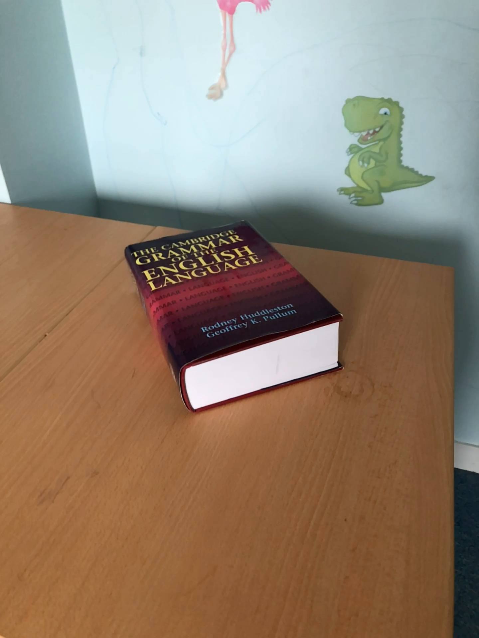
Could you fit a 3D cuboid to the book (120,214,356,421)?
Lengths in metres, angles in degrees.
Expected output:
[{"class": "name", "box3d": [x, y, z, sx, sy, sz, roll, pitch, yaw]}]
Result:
[{"class": "book", "box3d": [-0.016, -0.022, 0.639, 0.195, 0.070, 0.261, -15, 40, -16]}]
